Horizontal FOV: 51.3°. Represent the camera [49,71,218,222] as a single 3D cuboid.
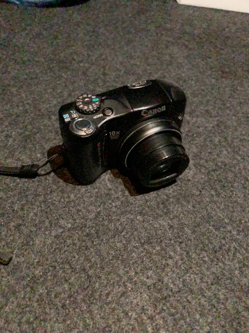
[{"bbox_3d":[0.004,-0.018,0.227,0.108,0.079,0.070,-18,57,-17],"label":"camera"}]
